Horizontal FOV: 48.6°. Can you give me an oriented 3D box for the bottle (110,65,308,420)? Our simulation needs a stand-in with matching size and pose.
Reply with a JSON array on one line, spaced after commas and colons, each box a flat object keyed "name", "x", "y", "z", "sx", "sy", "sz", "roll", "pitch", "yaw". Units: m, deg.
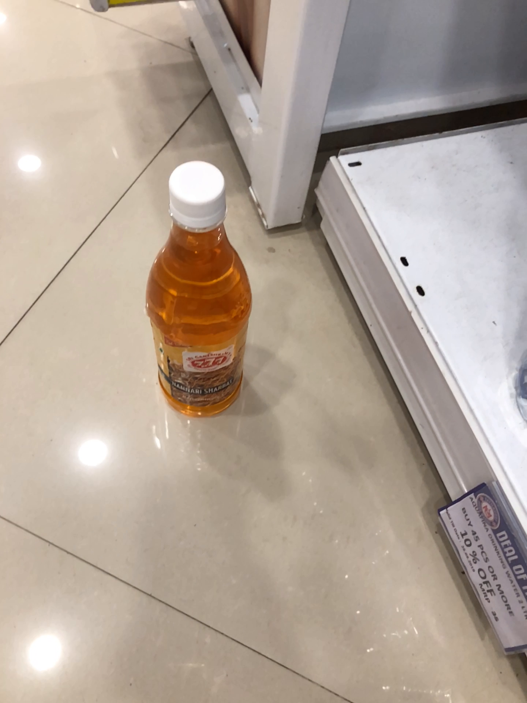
[{"name": "bottle", "x": -0.046, "y": -0.052, "z": 0.451, "sx": 0.100, "sy": 0.299, "sz": 0.100, "roll": 3, "pitch": 61, "yaw": -5}]
